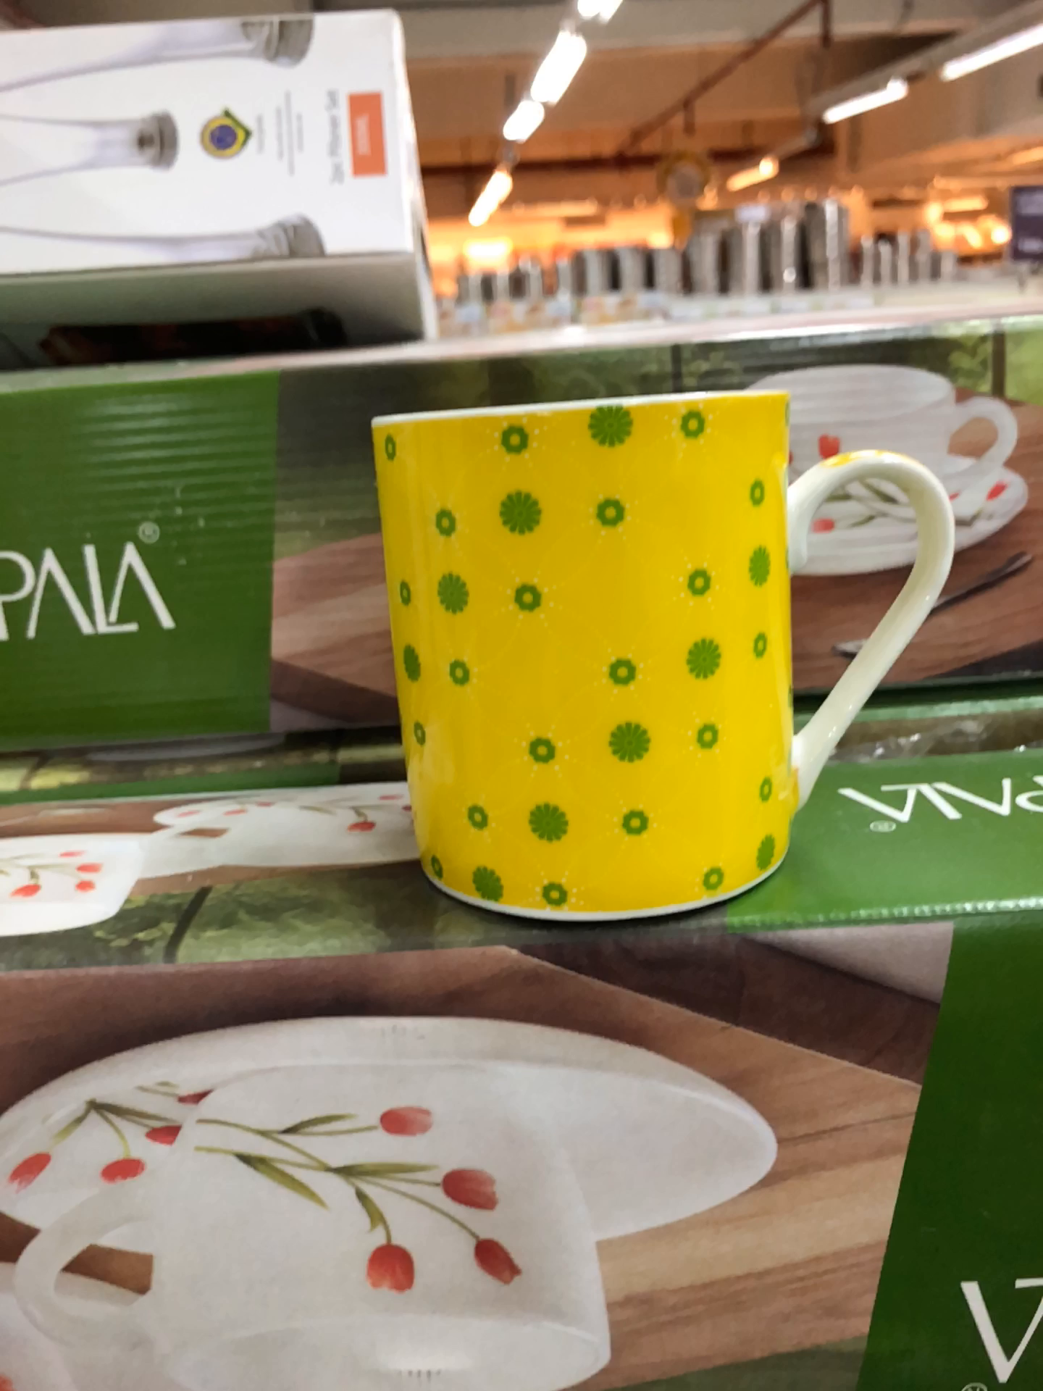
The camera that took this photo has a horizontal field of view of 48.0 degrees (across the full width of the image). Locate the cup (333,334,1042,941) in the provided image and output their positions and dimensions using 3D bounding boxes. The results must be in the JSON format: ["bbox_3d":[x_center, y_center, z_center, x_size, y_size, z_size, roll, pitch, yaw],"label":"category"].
[{"bbox_3d":[0.029,-0.015,0.226,0.110,0.090,0.080,-4,11,0],"label":"cup"}]
